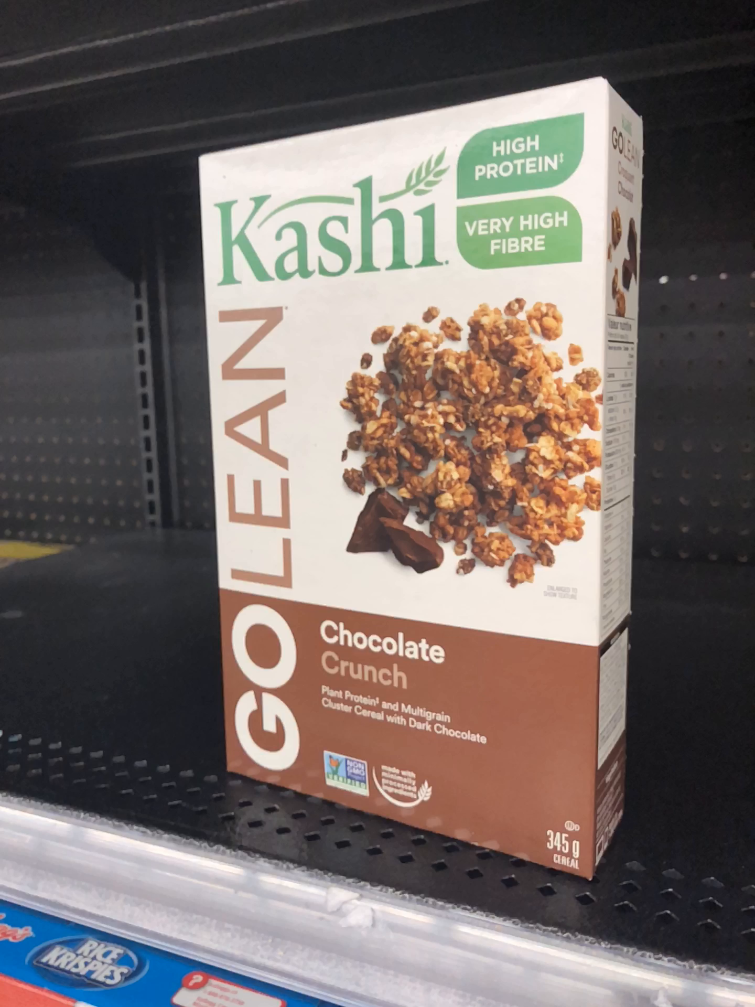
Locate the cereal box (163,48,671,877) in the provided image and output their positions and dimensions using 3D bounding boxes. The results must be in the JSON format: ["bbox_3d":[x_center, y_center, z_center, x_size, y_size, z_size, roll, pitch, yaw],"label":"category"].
[{"bbox_3d":[0.009,-0.013,0.321,0.180,0.250,0.050,4,9,31],"label":"cereal box"}]
